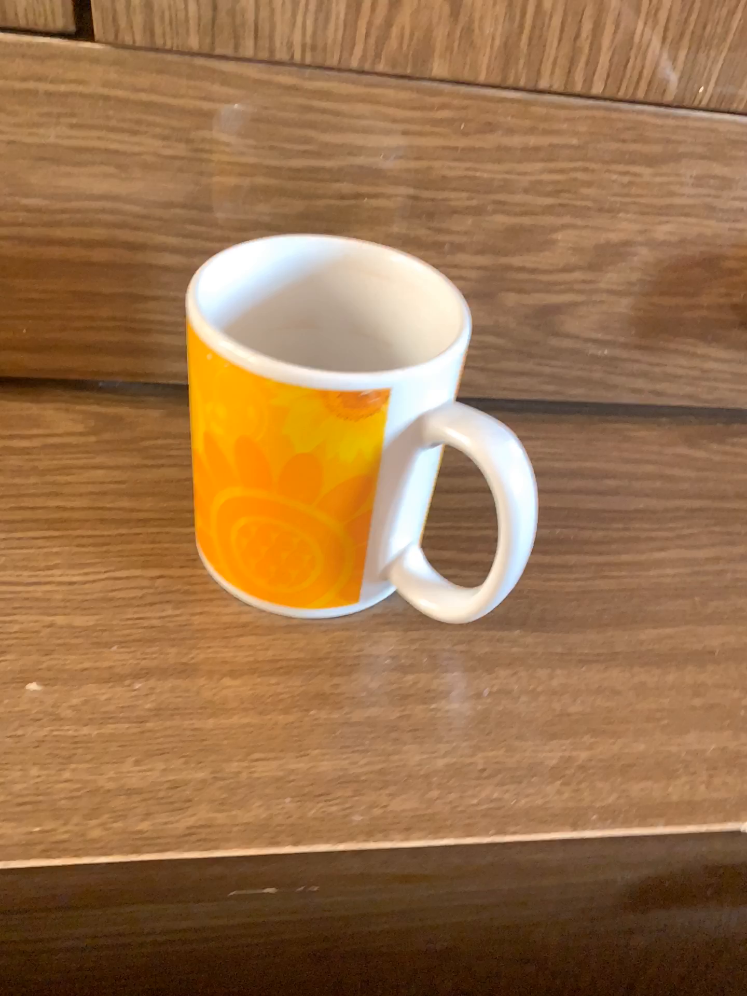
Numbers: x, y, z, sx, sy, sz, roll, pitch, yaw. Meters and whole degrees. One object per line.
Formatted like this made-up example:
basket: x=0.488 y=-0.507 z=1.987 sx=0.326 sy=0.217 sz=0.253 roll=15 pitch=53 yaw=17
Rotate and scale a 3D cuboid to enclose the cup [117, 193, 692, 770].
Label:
cup: x=0.002 y=-0.013 z=0.236 sx=0.124 sy=0.097 sz=0.091 roll=37 pitch=48 yaw=26
